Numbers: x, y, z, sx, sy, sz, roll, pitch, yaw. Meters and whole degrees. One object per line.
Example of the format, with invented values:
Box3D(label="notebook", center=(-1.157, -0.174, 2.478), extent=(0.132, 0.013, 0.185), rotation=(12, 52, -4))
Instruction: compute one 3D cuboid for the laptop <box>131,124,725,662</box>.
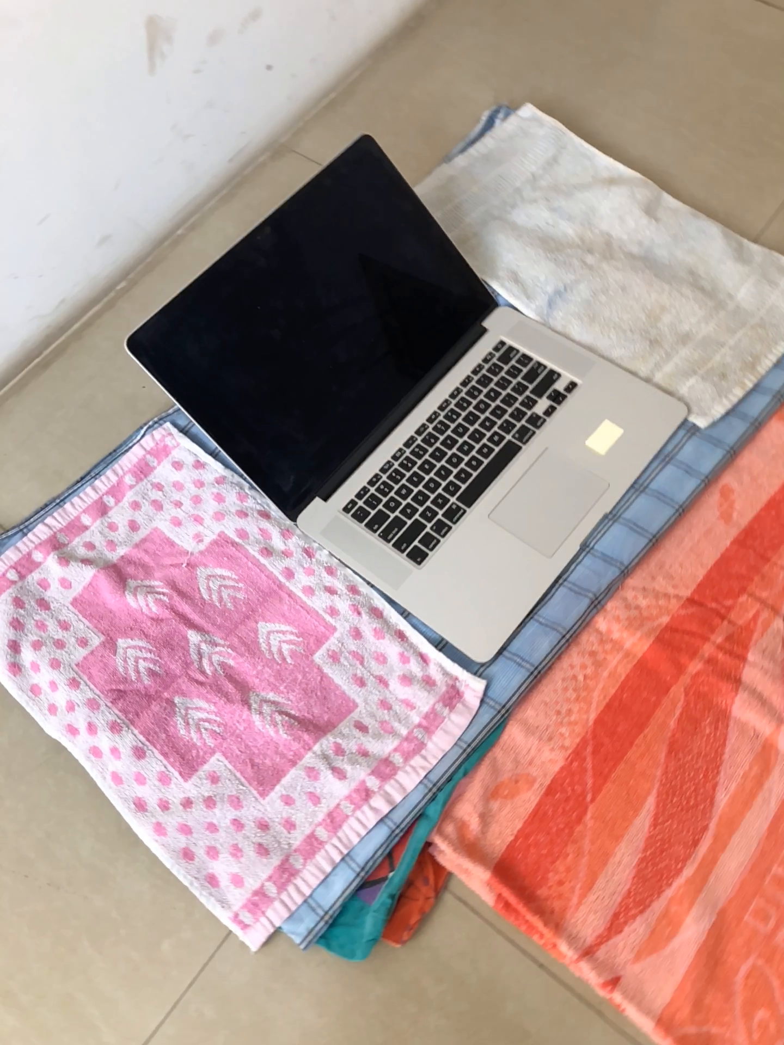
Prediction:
Box3D(label="laptop", center=(0.029, -0.143, 0.838), extent=(0.413, 0.144, 0.344), rotation=(36, 73, 20))
